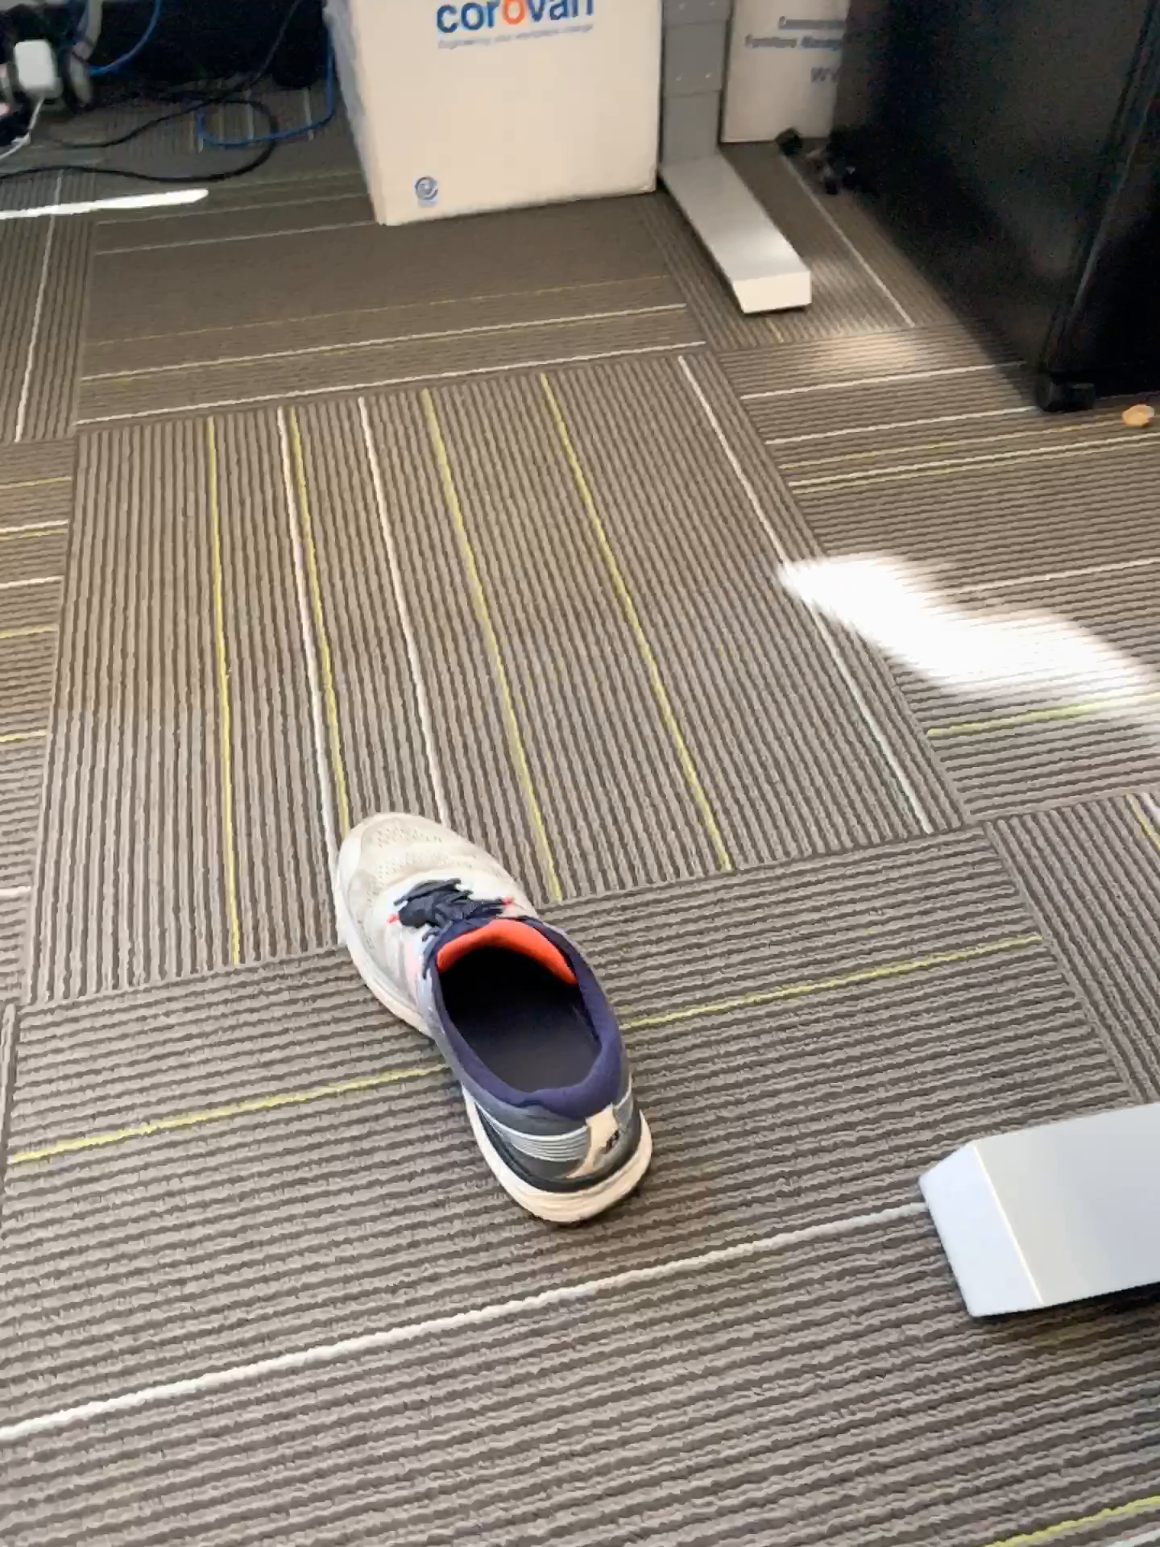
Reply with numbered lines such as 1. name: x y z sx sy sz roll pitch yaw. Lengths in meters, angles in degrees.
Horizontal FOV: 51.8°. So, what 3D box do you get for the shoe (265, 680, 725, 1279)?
1. shoe: -0.057 0.098 0.661 0.110 0.110 0.301 -24 53 -19
